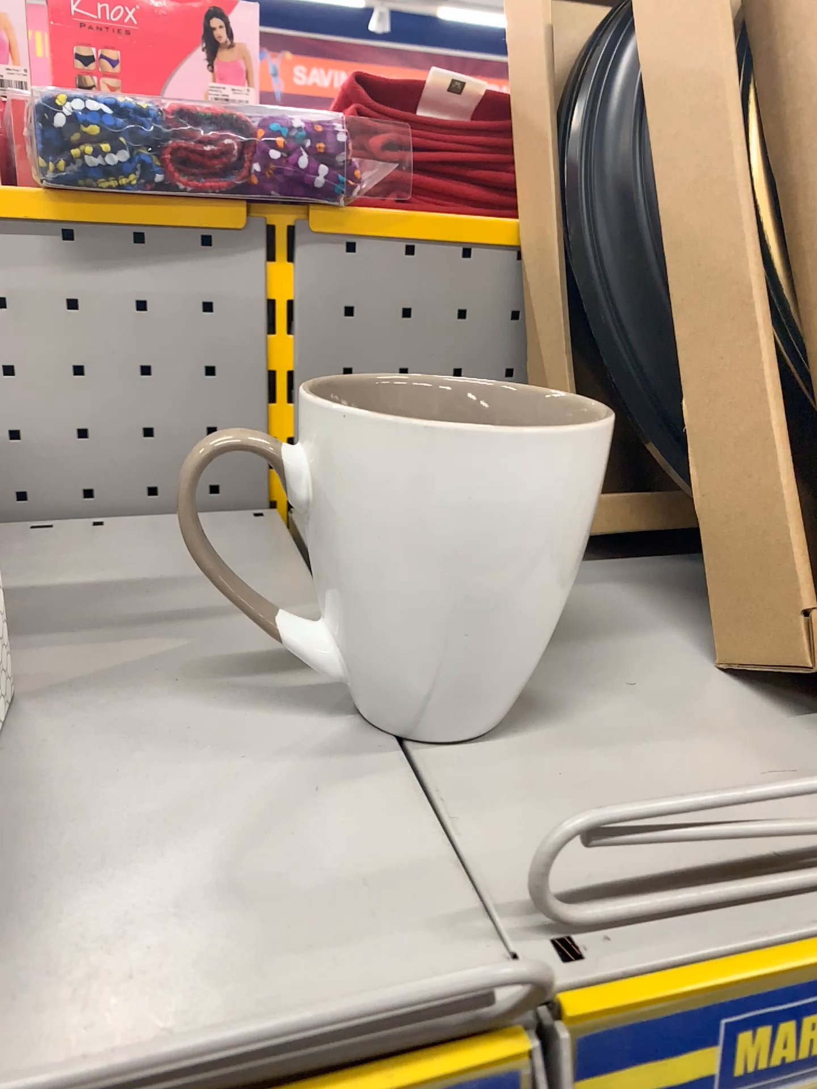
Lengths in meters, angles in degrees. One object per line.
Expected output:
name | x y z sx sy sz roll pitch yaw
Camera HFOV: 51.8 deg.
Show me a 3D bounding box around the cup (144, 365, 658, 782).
cup | -0.012 -0.001 0.282 0.140 0.100 0.100 -3 20 -16
